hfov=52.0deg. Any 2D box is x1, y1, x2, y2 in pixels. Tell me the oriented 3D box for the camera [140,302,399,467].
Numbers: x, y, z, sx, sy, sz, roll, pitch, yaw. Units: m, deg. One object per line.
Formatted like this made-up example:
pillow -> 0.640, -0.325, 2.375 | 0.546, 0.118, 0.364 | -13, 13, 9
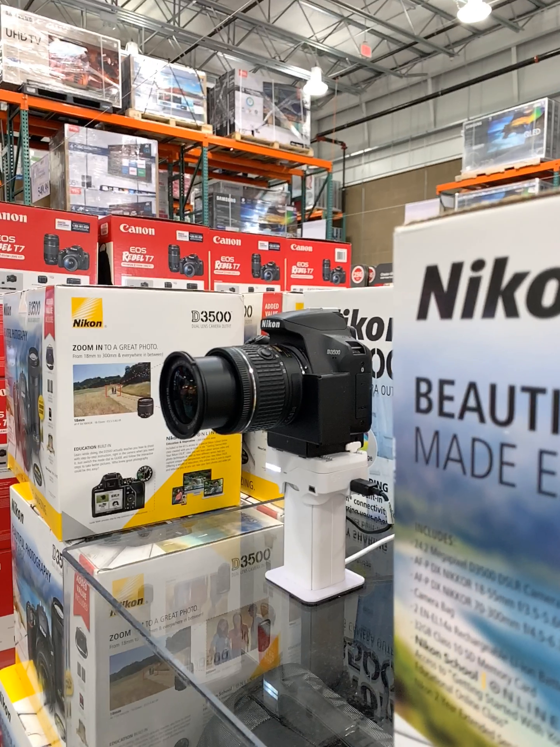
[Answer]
camera -> -0.010, -0.002, 0.443 | 0.150, 0.100, 0.130 | -4, 7, -36
